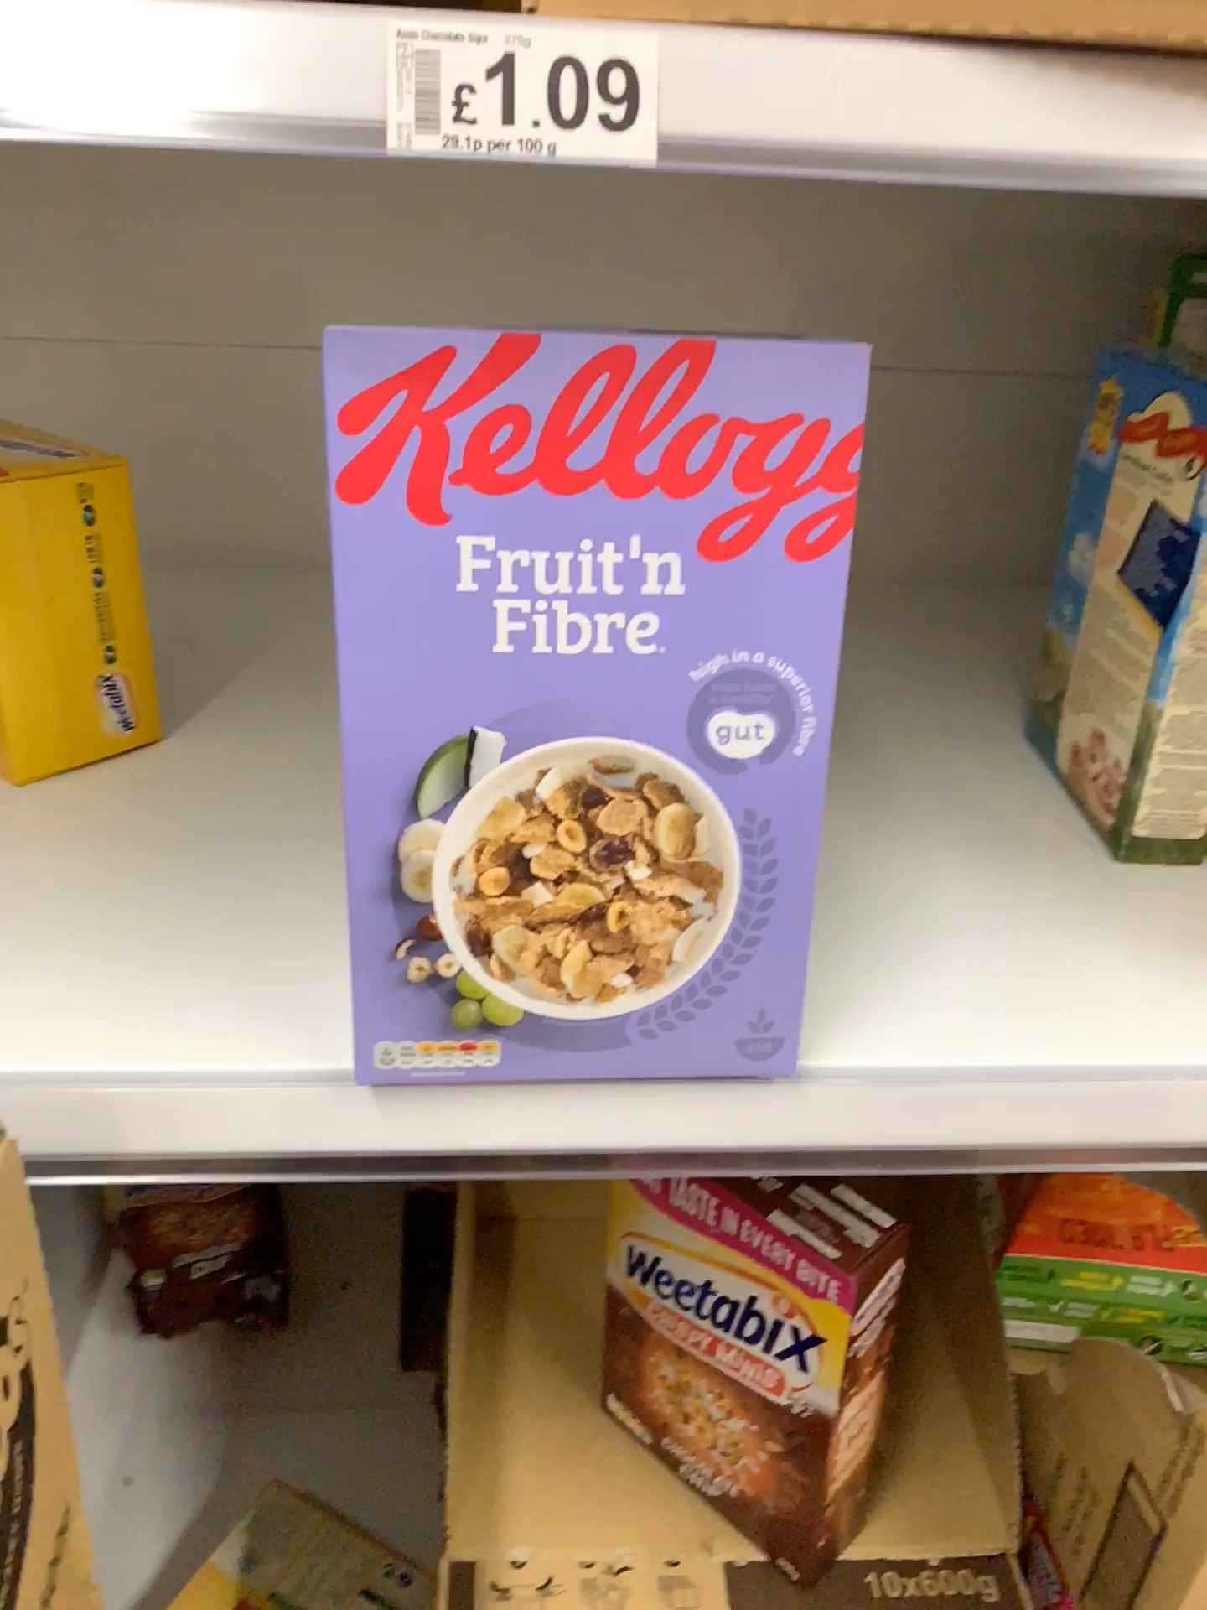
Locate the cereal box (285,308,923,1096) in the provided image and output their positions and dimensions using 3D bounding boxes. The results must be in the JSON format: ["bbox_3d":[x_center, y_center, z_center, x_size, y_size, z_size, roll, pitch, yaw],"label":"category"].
[{"bbox_3d":[-0.006,-0.035,0.497,0.210,0.298,0.081,0,22,-5],"label":"cereal box"}]
